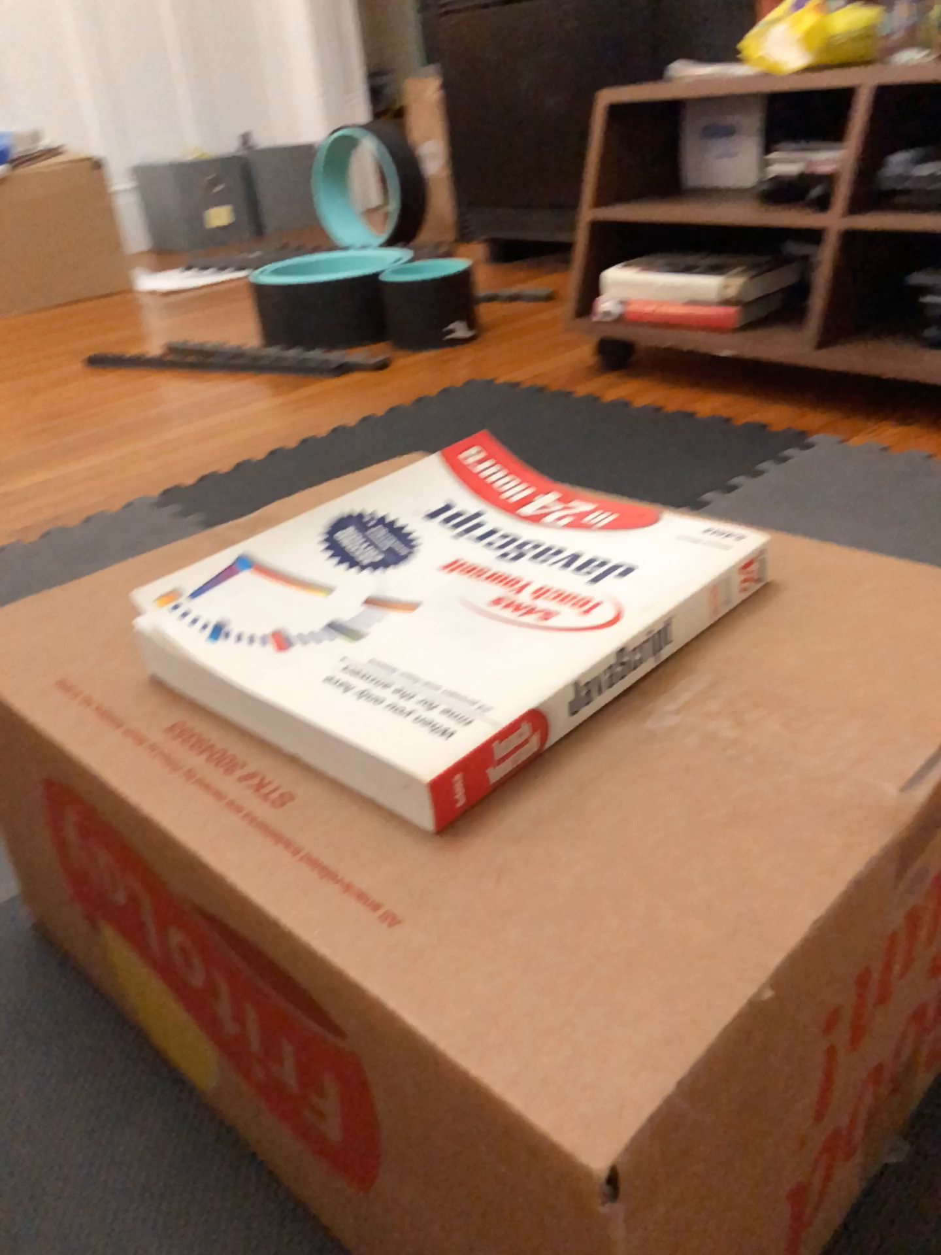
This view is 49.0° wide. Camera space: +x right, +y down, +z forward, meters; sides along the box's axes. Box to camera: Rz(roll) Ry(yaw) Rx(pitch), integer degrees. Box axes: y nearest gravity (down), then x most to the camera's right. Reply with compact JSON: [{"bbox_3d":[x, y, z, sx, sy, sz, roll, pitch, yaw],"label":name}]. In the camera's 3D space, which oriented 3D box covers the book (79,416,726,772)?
[{"bbox_3d":[-0.028,-0.038,0.500,0.200,0.030,0.241,19,39,39],"label":"book"}]
